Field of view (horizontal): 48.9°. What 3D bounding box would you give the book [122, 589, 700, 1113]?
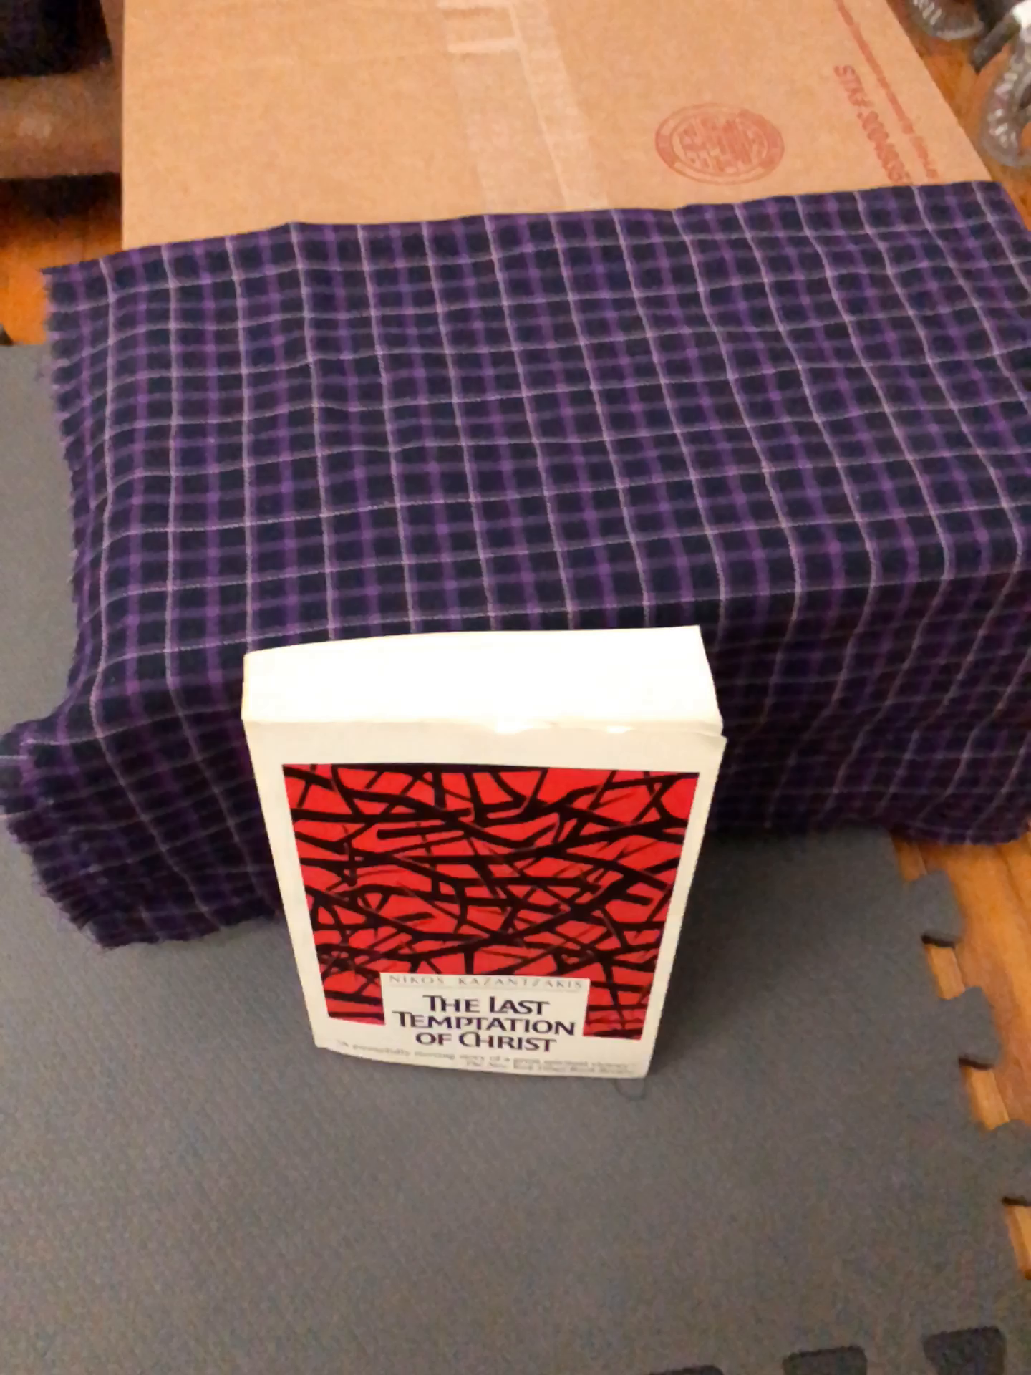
[{"bbox_3d":[-0.024,0.067,0.386,0.150,0.209,0.050,6,49,8],"label":"book"}]
